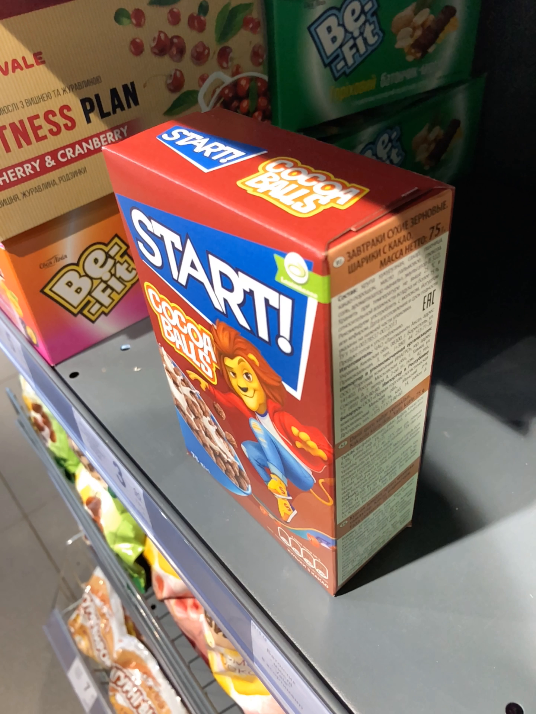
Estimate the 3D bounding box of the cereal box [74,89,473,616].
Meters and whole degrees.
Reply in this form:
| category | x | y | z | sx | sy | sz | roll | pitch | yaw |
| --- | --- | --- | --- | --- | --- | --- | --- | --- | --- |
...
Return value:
| category | x | y | z | sx | sy | sz | roll | pitch | yaw |
| --- | --- | --- | --- | --- | --- | --- | --- | --- | --- |
| cereal box | 0.004 | 0.002 | 0.232 | 0.060 | 0.169 | 0.110 | -34 | 48 | -26 |
